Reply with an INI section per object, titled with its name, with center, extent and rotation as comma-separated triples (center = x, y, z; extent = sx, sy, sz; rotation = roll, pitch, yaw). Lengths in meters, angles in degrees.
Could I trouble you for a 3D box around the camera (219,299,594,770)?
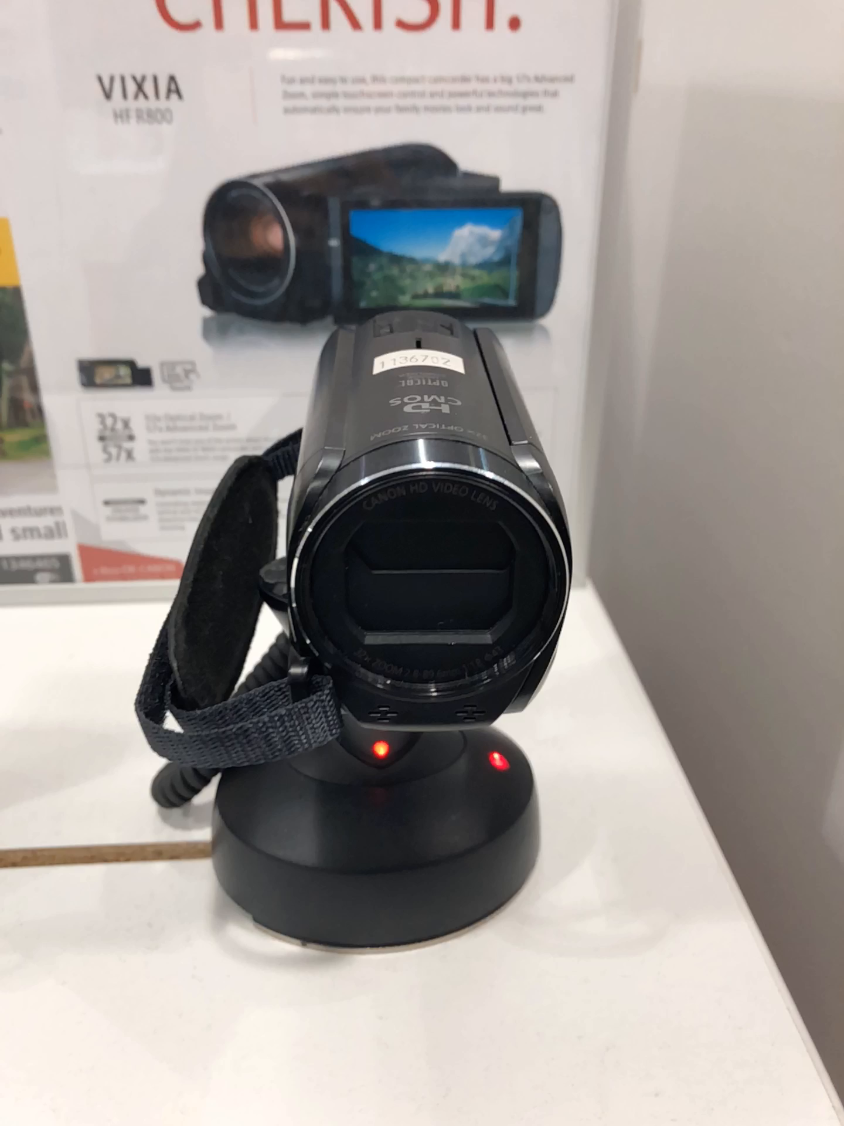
[camera]
center = -0.005, -0.018, 0.224
extent = 0.060, 0.060, 0.130
rotation = -1, 27, -2
